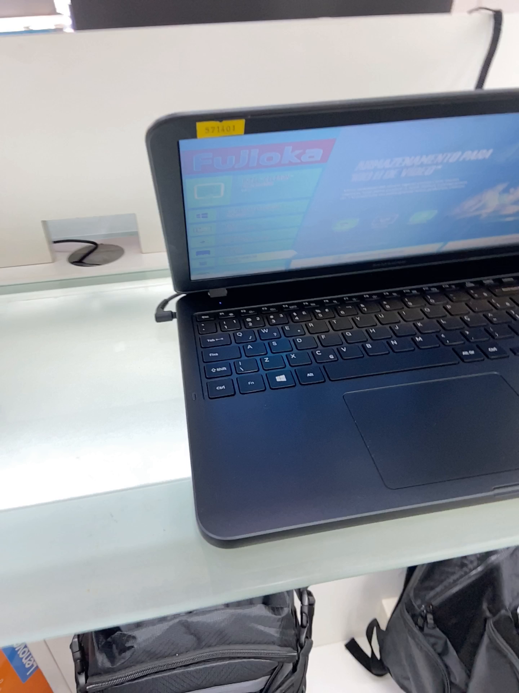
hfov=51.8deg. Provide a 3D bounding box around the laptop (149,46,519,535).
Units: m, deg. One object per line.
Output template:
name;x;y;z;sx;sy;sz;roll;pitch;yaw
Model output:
laptop;0.134;-0.071;0.338;0.372;0.173;0.247;-7;35;-8
